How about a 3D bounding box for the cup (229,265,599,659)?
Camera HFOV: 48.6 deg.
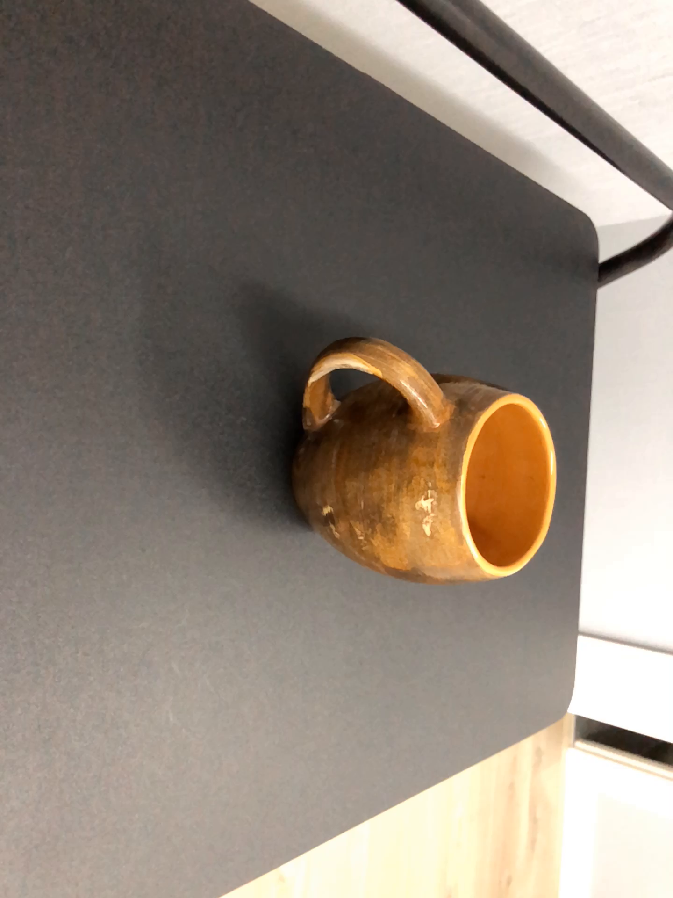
[{"bbox_3d":[0.041,0.005,0.333,0.092,0.092,0.131,-49,126,-34],"label":"cup"}]
